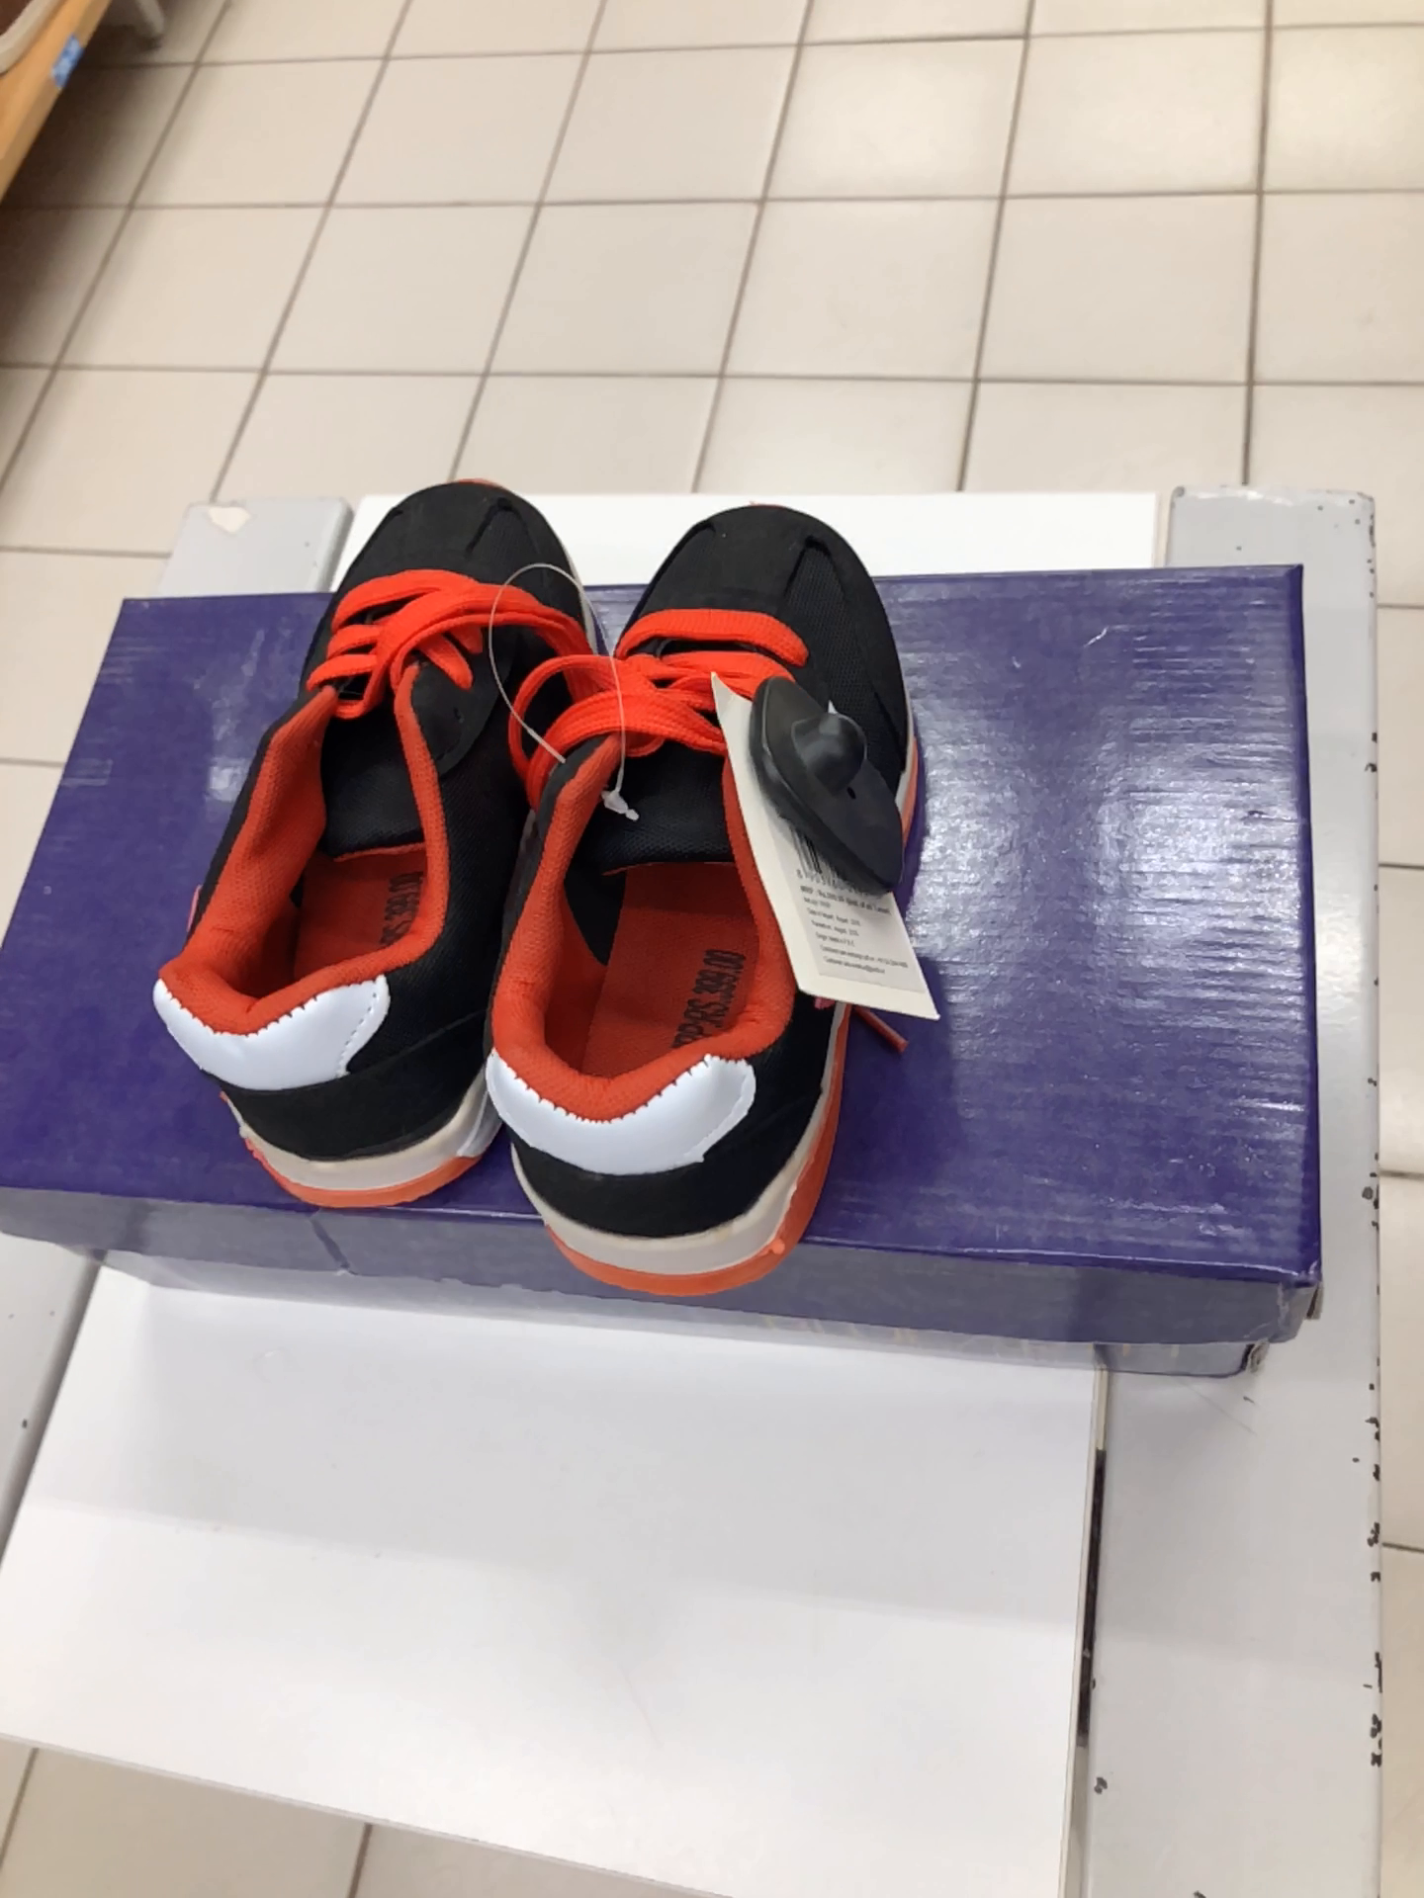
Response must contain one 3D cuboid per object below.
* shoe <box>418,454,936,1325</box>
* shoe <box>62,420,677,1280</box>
[{"bbox_3d":[0.004,-0.014,0.365,0.080,0.100,0.171,3,64,11],"label":"shoe"},{"bbox_3d":[-0.069,-0.024,0.386,0.080,0.100,0.181,3,64,11],"label":"shoe"}]
